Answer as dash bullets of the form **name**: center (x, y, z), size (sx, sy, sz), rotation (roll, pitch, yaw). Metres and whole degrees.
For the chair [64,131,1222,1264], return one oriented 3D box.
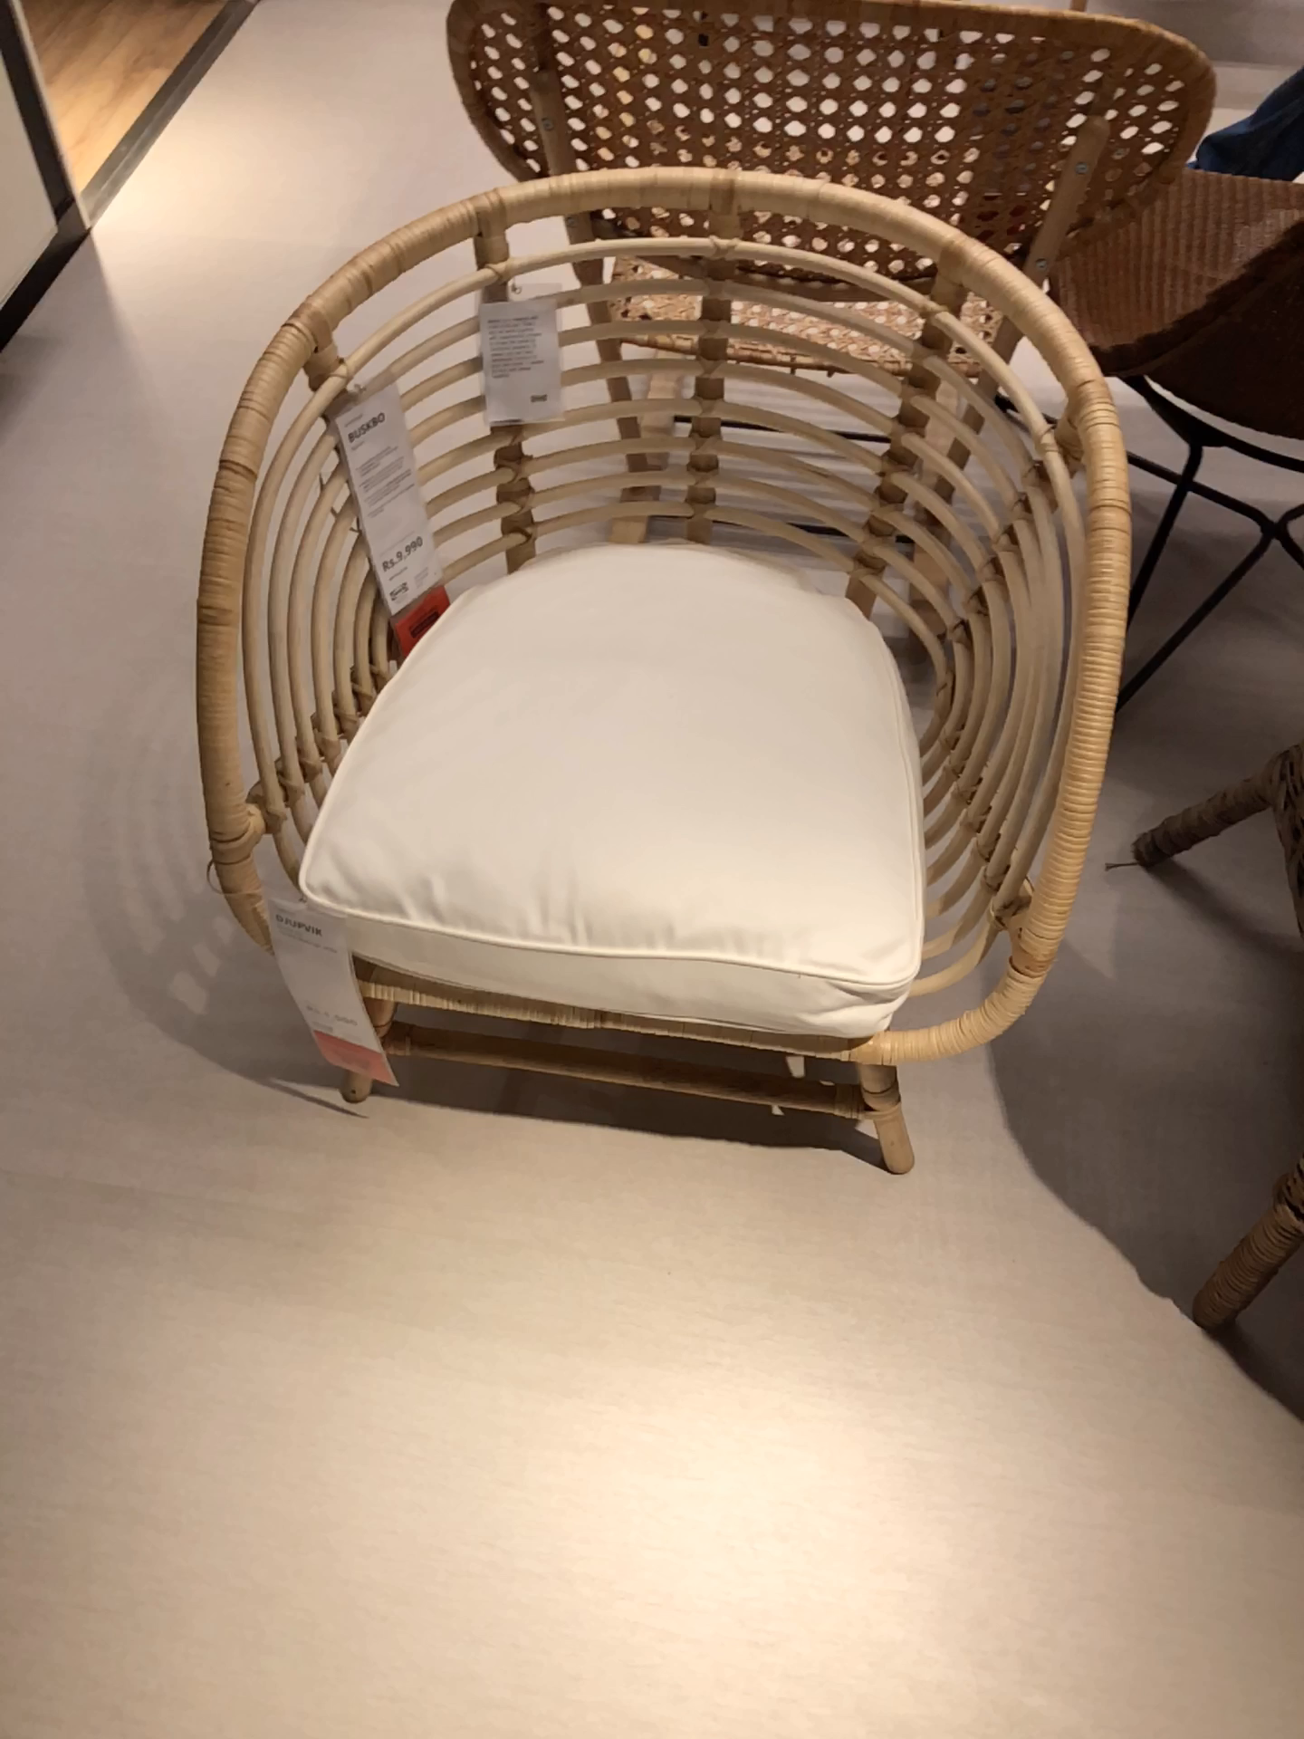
- **chair**: center (0.033, -0.141, 1.447), size (0.750, 0.825, 0.684), rotation (7, 53, 6)
